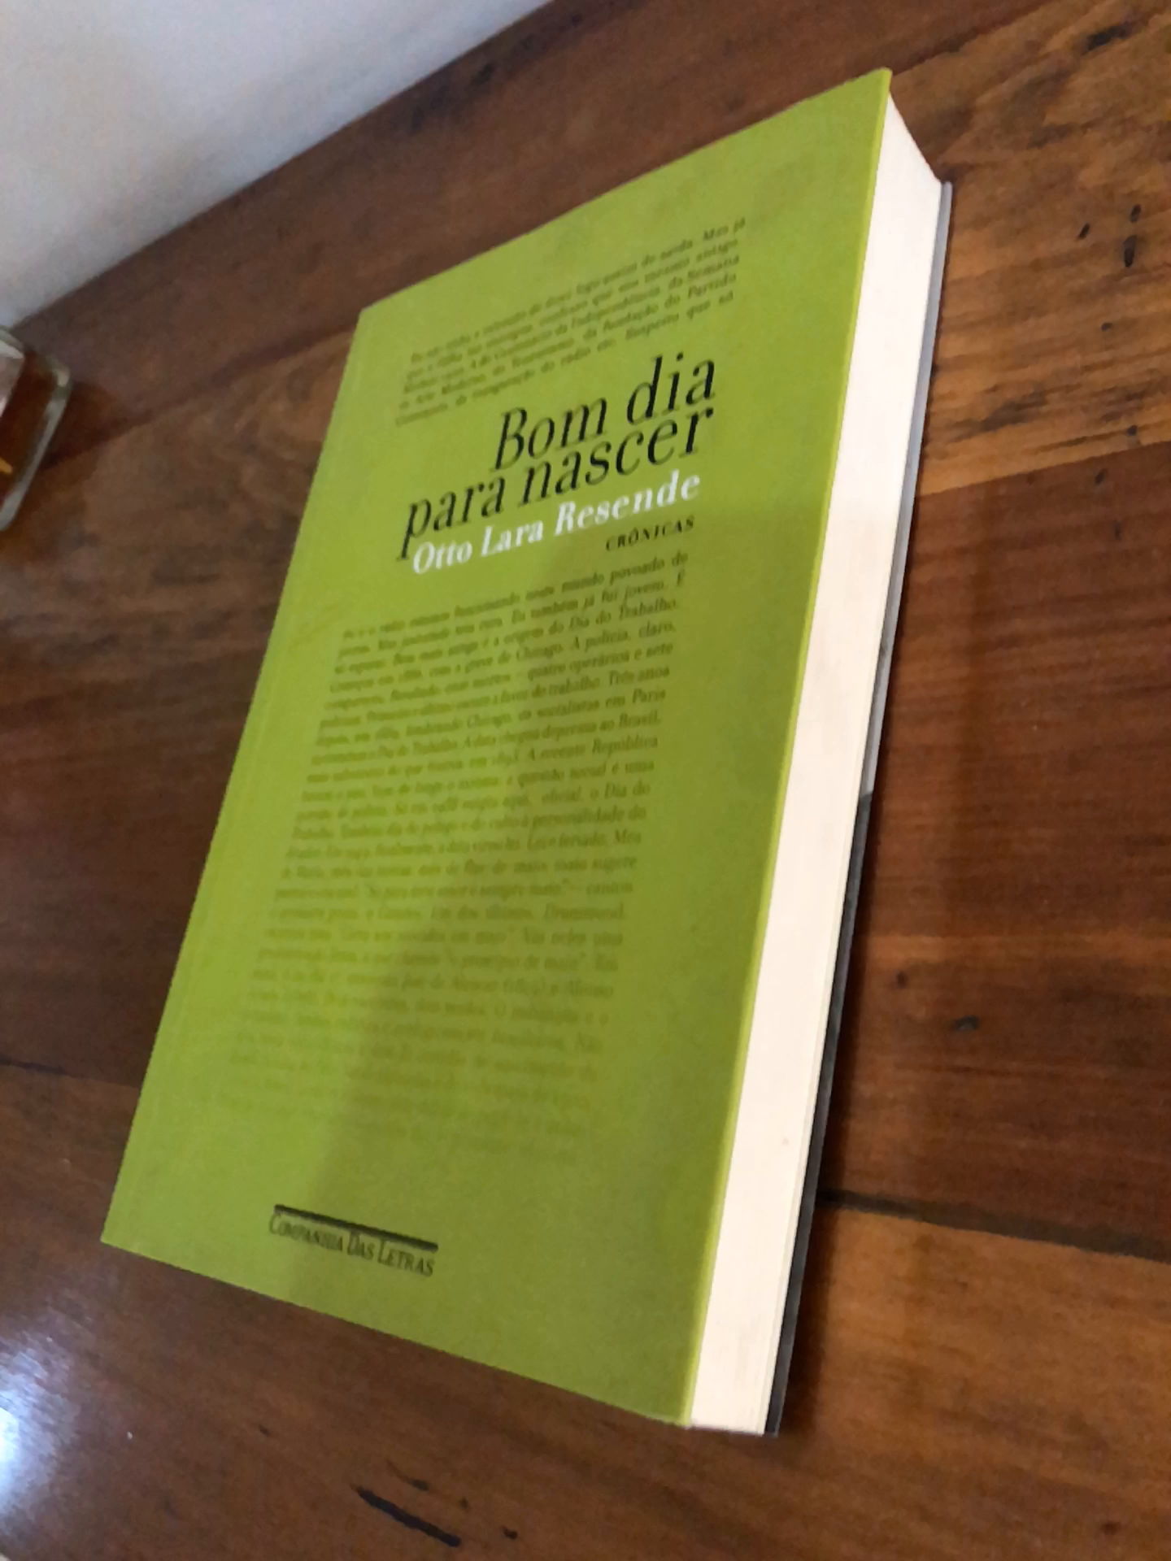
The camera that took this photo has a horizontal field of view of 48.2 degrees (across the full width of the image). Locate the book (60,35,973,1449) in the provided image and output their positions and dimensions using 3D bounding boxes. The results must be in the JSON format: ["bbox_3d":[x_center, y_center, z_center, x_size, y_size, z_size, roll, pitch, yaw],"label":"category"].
[{"bbox_3d":[-0.013,-0.014,0.232,0.136,0.030,0.209,-5,65,41],"label":"book"}]
